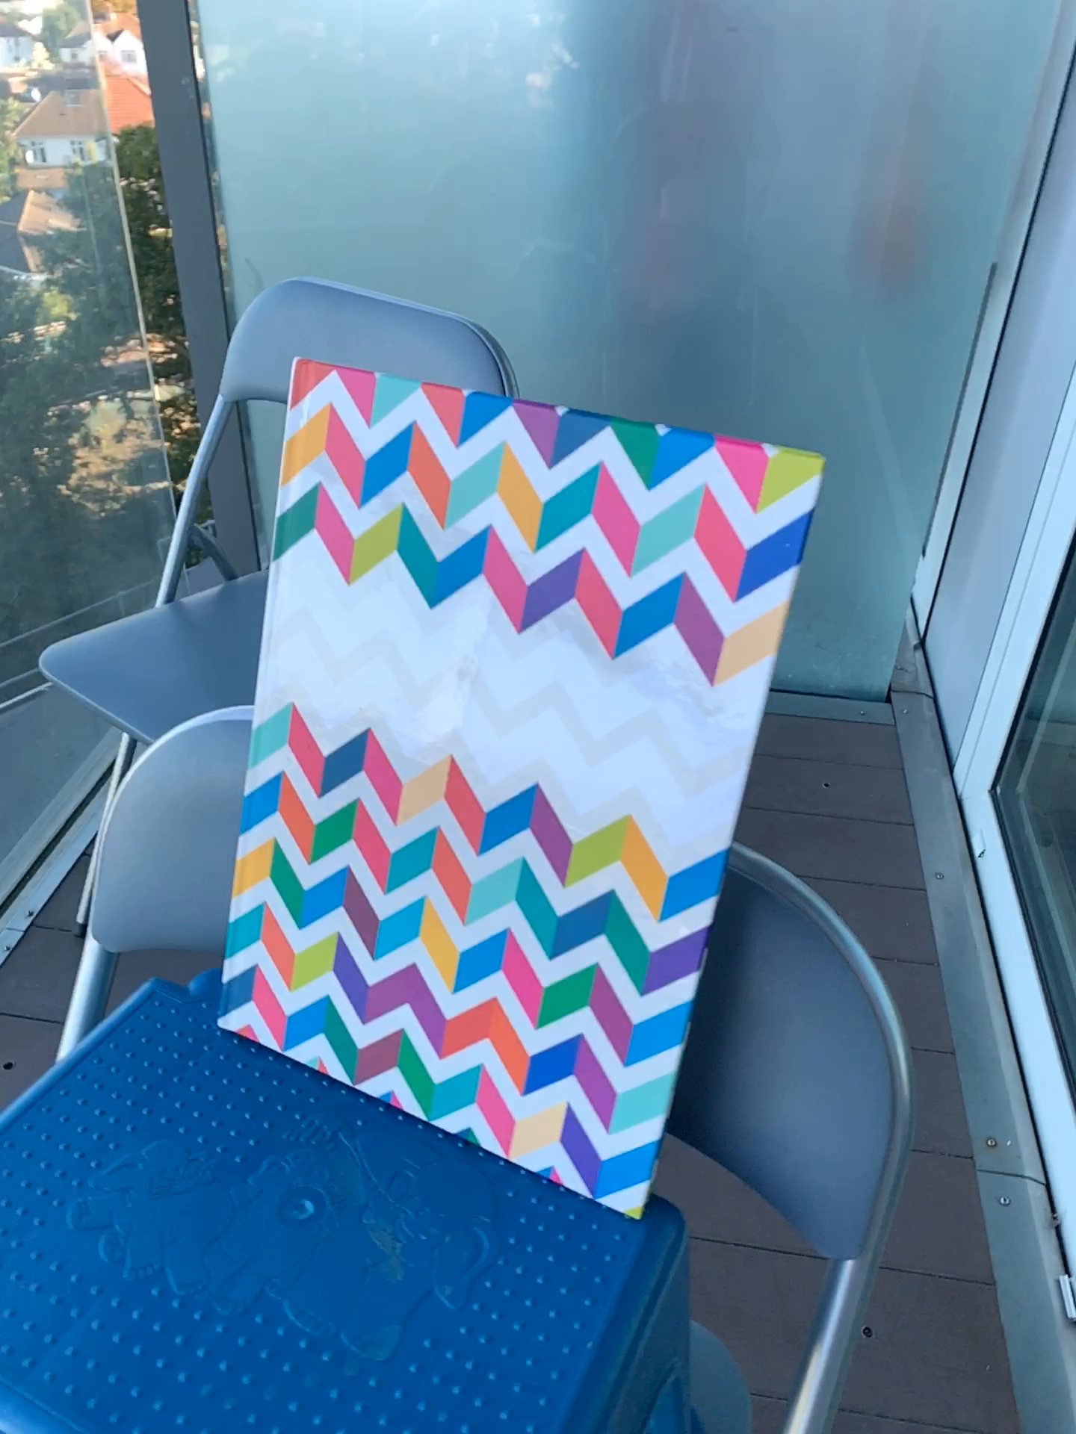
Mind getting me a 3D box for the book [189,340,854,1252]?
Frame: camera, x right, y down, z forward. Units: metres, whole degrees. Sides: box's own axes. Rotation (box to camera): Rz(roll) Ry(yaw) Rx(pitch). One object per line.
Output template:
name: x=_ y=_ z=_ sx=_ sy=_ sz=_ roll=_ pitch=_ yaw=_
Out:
book: x=-0.025 y=0.025 z=0.416 sx=0.211 sy=0.289 sz=0.030 roll=17 pitch=16 yaw=22
